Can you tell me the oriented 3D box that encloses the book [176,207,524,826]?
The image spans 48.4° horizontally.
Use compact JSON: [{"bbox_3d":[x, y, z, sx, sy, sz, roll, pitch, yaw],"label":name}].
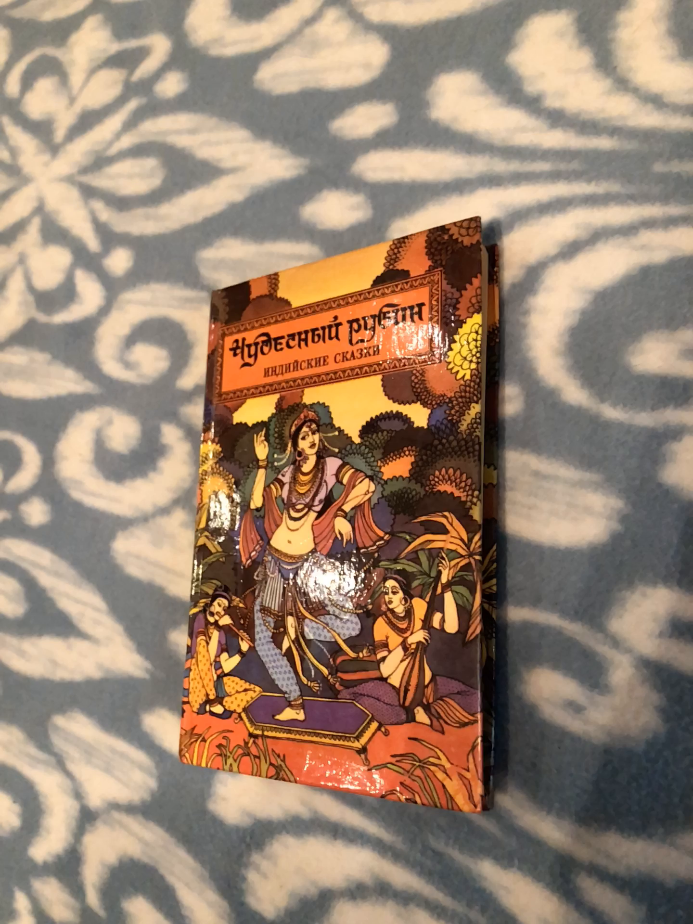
[{"bbox_3d":[-0.003,0.019,0.310,0.140,0.027,0.210,-6,77,34],"label":"book"}]
